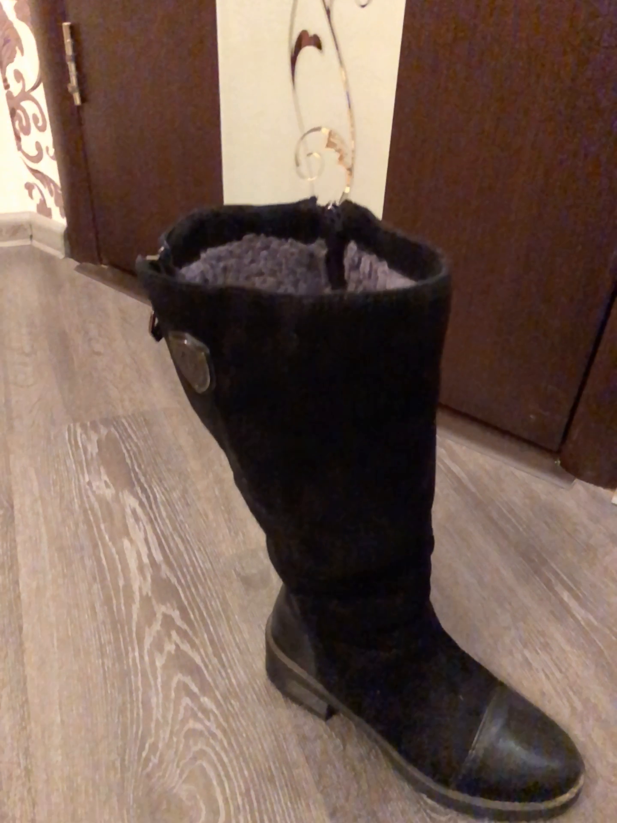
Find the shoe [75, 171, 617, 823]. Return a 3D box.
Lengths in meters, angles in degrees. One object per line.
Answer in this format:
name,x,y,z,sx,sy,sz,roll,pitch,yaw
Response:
shoe,0.050,0.088,0.385,0.290,0.358,0.121,20,40,21
